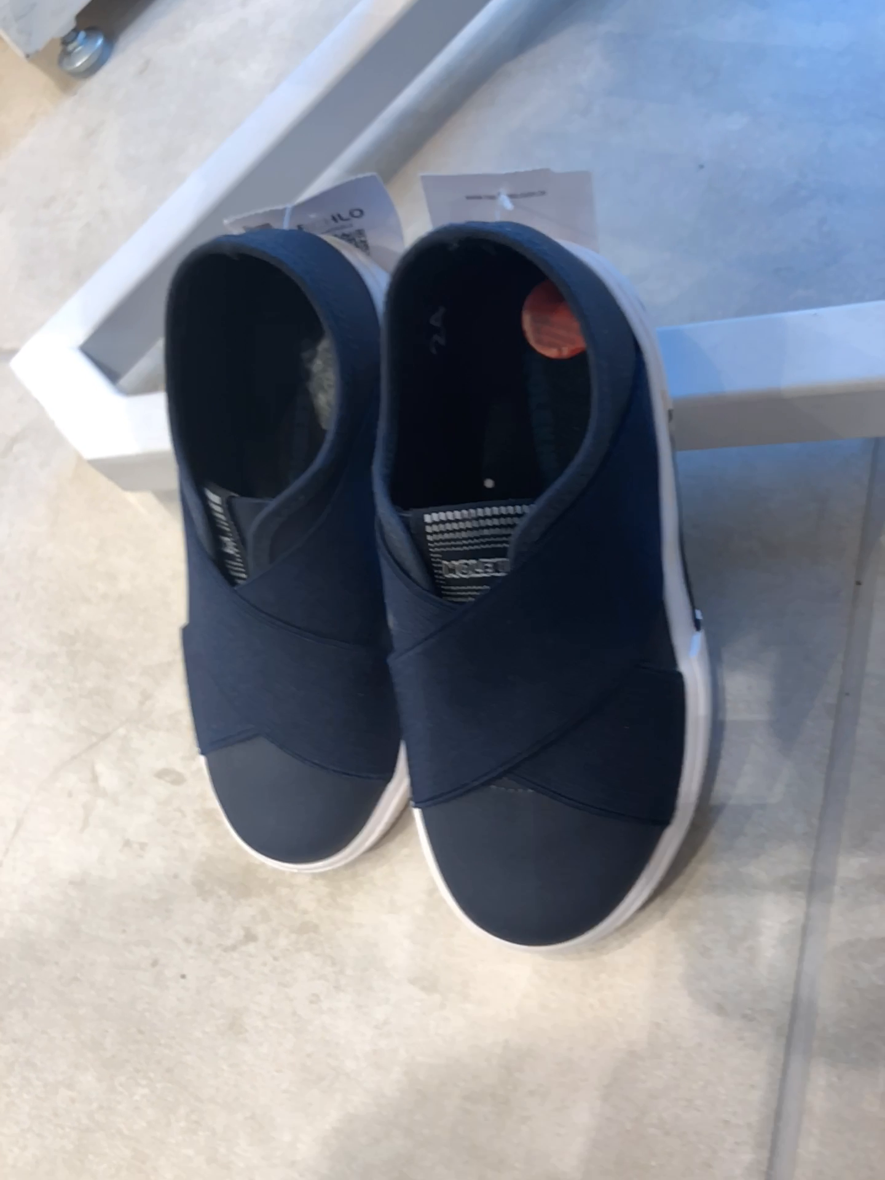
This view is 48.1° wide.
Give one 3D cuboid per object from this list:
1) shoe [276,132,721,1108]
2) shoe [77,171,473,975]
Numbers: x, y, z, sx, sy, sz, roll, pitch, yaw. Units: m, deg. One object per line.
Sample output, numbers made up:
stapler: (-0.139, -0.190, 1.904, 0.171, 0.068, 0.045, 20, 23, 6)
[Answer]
shoe: (0.019, 0.006, 0.227, 0.070, 0.070, 0.180, -1, 97, 26)
shoe: (-0.038, -0.005, 0.265, 0.070, 0.070, 0.180, 2, 99, 21)
